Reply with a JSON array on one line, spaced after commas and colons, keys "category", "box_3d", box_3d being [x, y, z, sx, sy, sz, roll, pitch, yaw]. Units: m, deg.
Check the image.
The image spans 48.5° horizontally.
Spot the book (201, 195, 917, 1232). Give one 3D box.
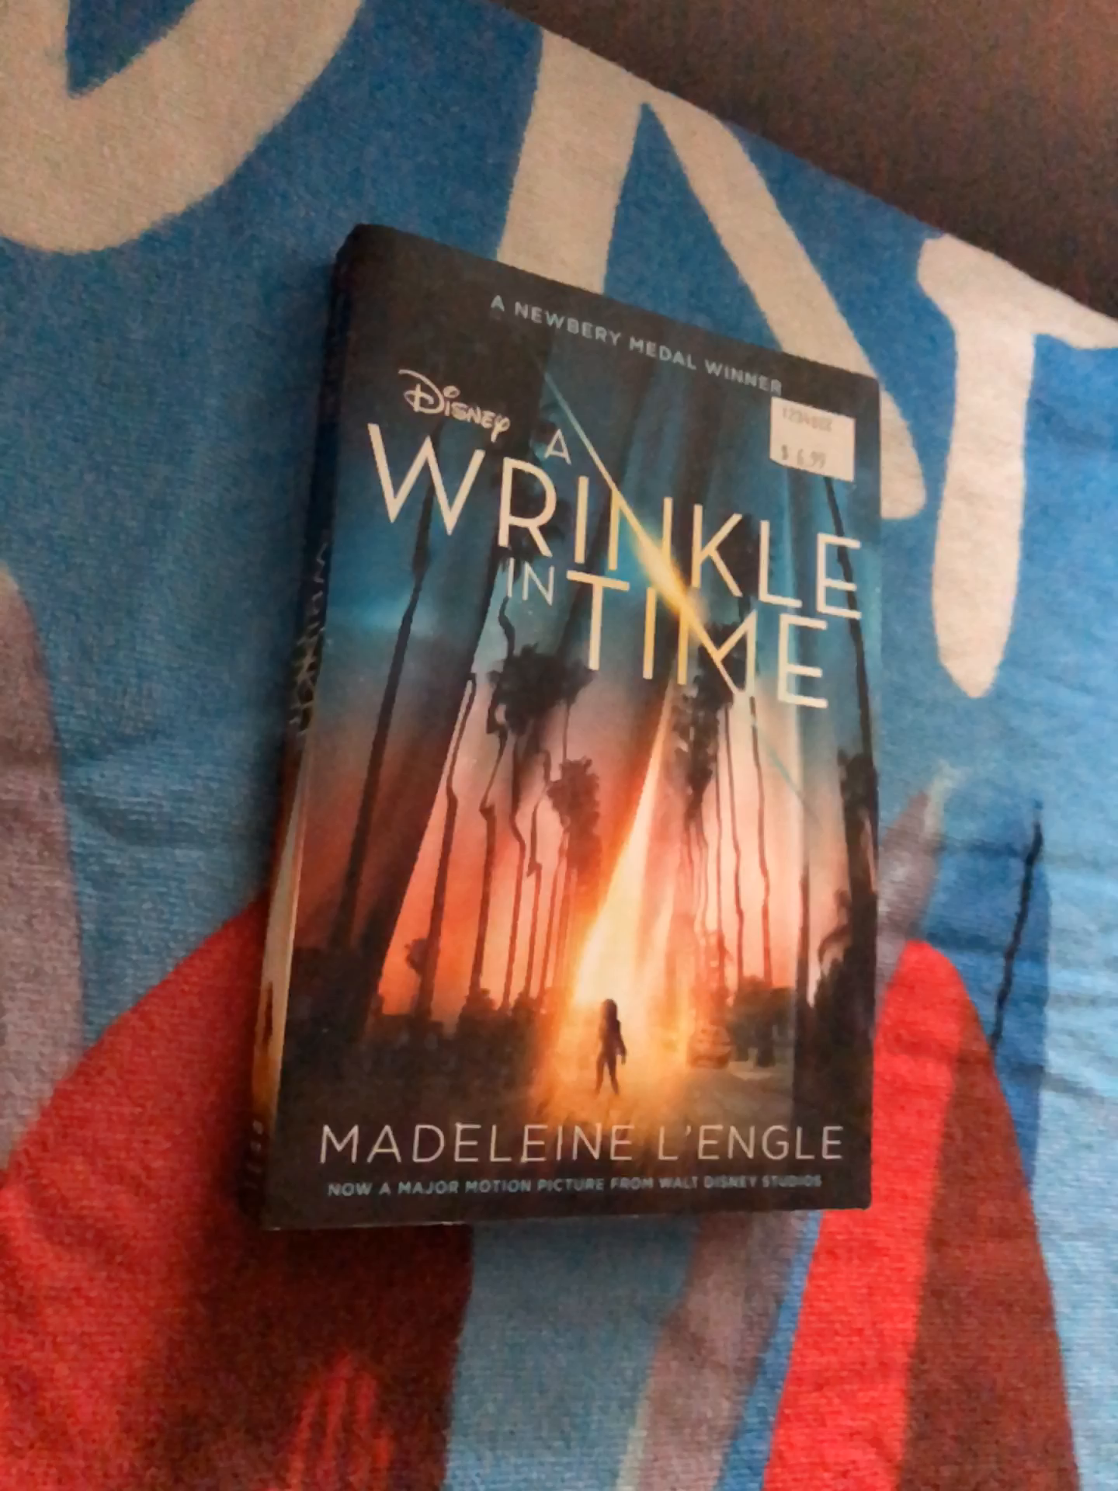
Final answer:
[{"category": "book", "box_3d": [0.008, -0.001, 0.270, 0.138, 0.031, 0.195, 9, 80, -24]}]
